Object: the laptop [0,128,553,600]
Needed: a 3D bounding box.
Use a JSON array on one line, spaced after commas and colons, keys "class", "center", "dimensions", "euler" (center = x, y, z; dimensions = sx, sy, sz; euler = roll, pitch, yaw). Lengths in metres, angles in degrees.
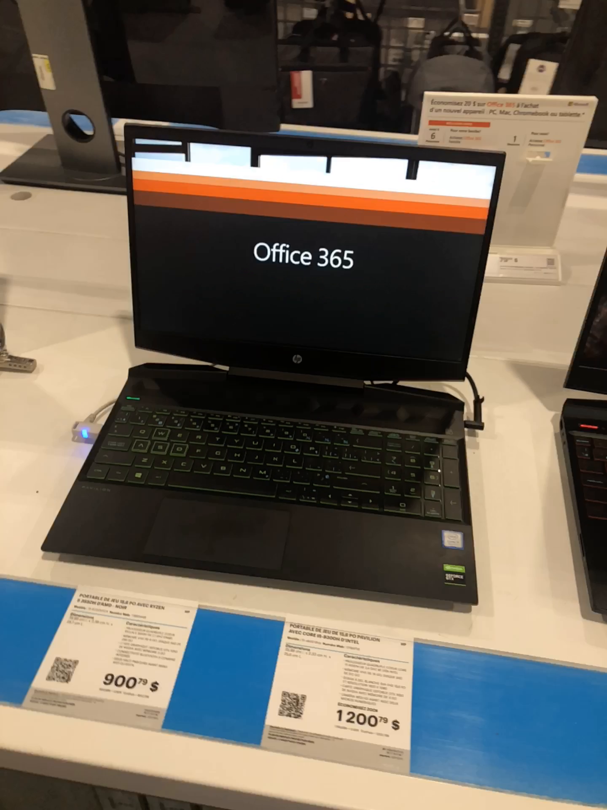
[{"class": "laptop", "center": [-0.019, -0.055, 0.587], "dimensions": [0.355, 0.232, 0.317], "euler": [6, 40, 3]}]
